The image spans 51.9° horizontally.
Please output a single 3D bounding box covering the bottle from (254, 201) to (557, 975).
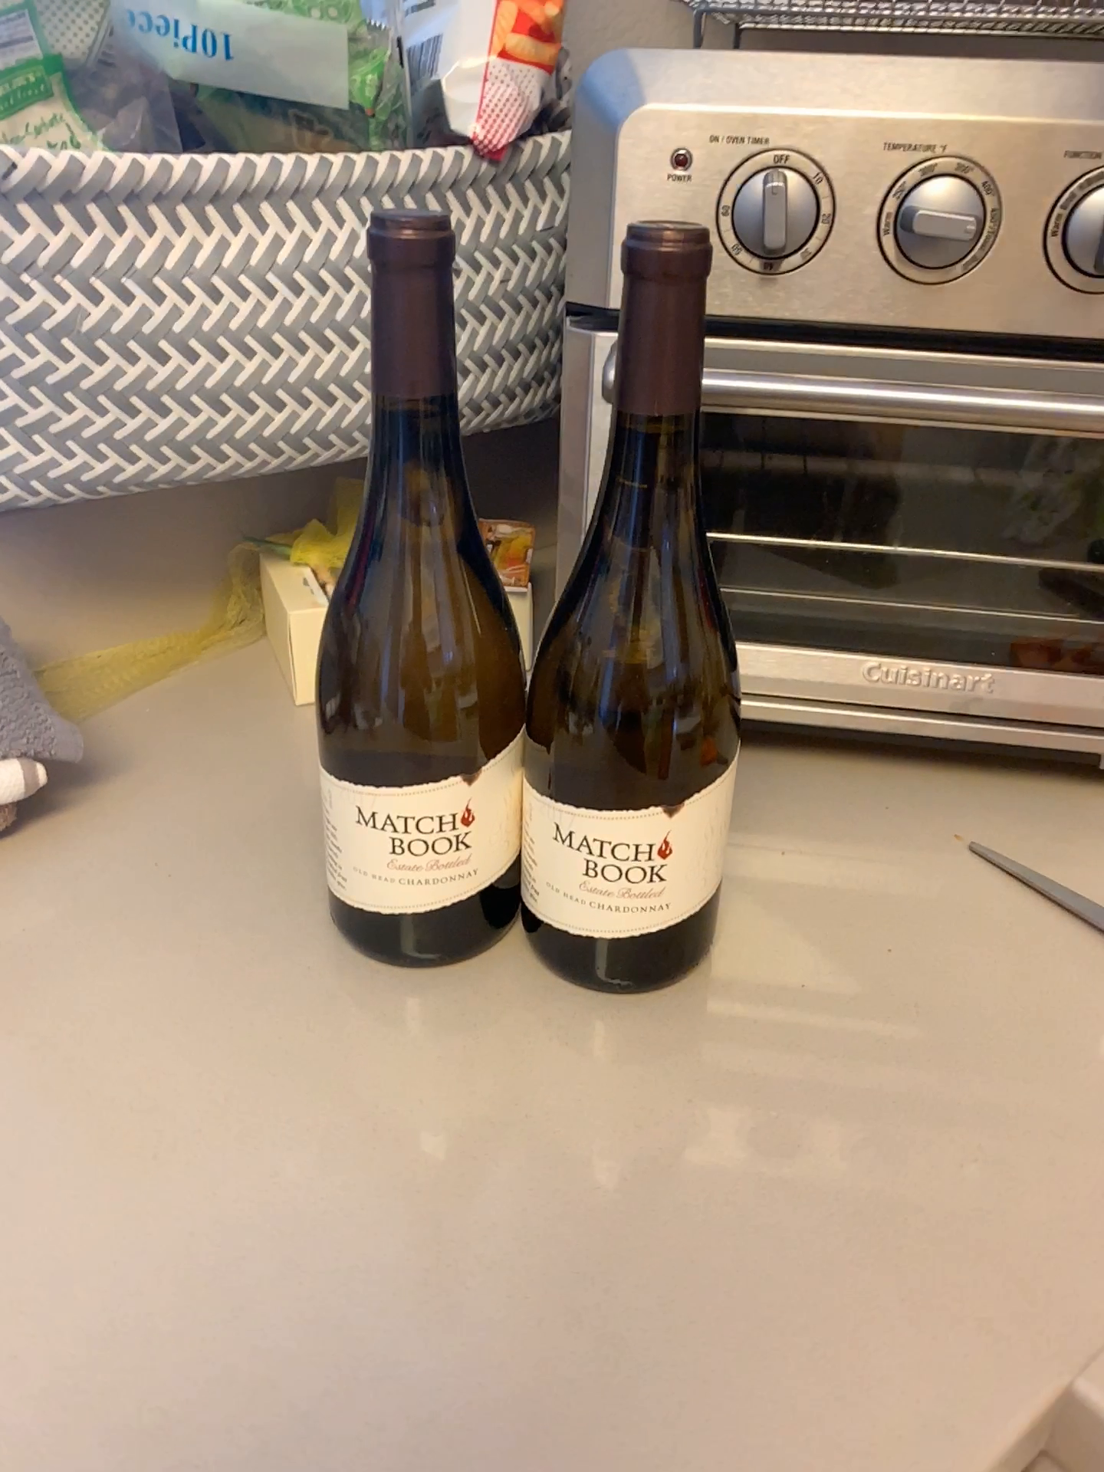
[{"bbox_3d":[-0.049,-0.047,0.449,0.090,0.288,0.091,1,29,-1],"label":"bottle"}]

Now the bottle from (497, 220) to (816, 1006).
[{"bbox_3d":[0.030,-0.038,0.431,0.090,0.278,0.091,1,29,-1],"label":"bottle"}]
